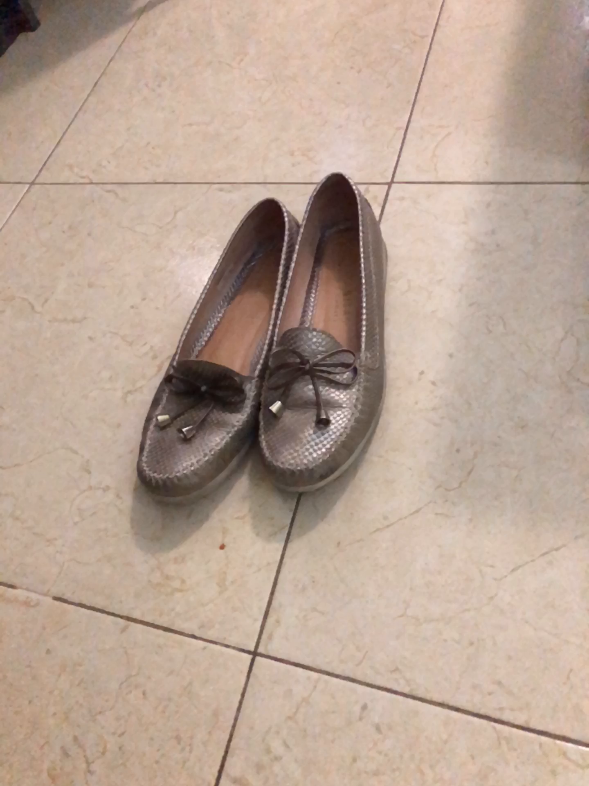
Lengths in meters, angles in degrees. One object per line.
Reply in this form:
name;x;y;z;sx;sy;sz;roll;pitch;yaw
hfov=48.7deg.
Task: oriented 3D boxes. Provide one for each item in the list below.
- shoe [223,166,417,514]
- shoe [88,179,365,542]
shoe;0.033;-0.051;0.511;0.100;0.080;0.270;1;59;17
shoe;-0.041;-0.042;0.547;0.100;0.080;0.300;12;62;23
